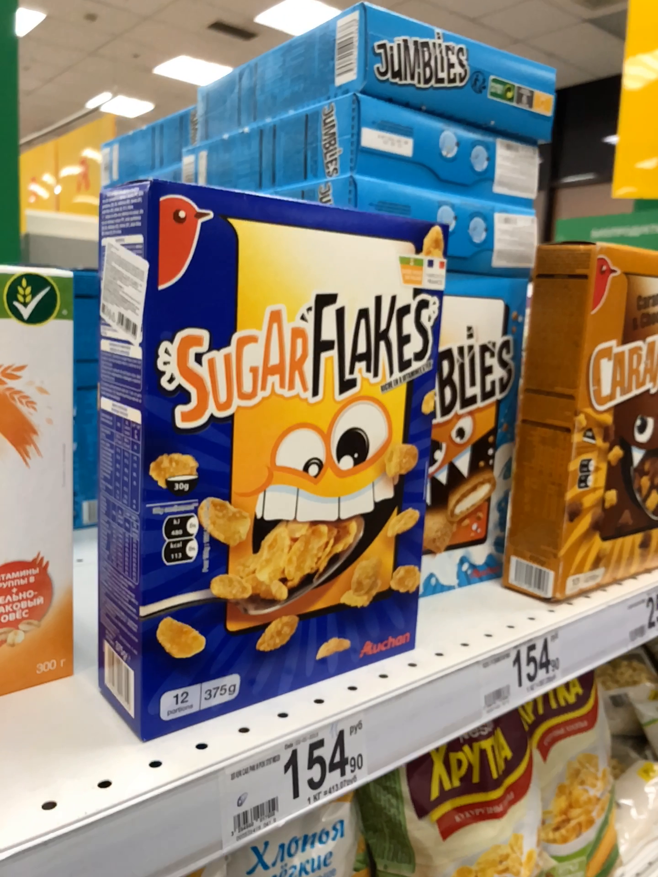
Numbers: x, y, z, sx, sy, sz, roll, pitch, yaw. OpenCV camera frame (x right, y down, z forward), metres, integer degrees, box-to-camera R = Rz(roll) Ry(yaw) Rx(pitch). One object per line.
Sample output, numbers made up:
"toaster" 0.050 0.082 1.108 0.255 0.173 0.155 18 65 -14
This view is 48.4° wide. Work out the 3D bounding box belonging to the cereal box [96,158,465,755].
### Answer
"cereal box" -0.024 0.004 0.427 0.200 0.279 0.070 -5 11 -39
